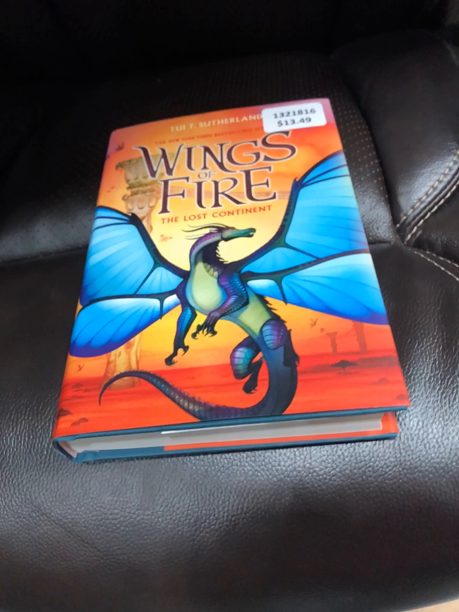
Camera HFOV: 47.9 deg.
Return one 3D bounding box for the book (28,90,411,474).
[{"bbox_3d":[-0.007,-0.030,0.274,0.148,0.030,0.218,-6,53,6],"label":"book"}]
